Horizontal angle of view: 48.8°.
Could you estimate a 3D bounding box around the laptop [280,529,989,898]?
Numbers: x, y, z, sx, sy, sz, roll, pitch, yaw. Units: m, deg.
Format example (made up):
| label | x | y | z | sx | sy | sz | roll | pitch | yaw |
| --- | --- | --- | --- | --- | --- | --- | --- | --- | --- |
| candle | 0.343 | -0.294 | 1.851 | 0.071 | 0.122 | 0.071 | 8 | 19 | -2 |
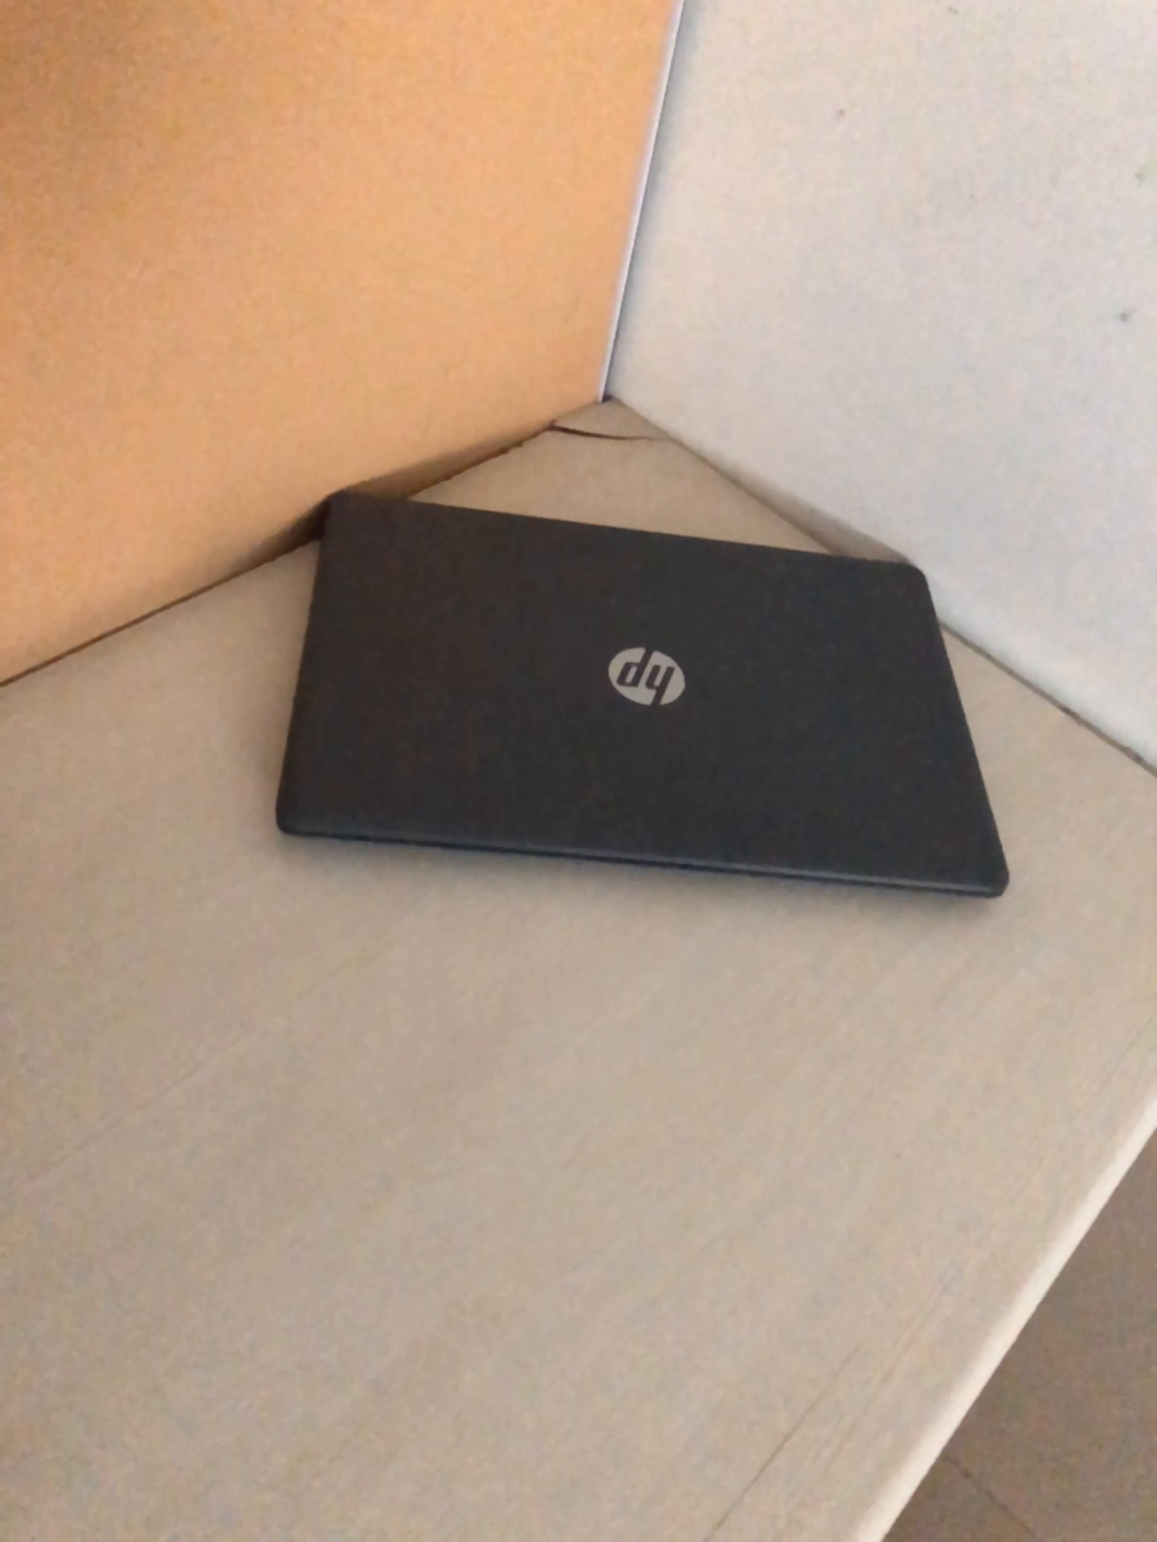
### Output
| label | x | y | z | sx | sy | sz | roll | pitch | yaw |
| --- | --- | --- | --- | --- | --- | --- | --- | --- | --- |
| laptop | 0.033 | -0.040 | 0.709 | 0.356 | 0.004 | 0.237 | 5 | 48 | -7 |
